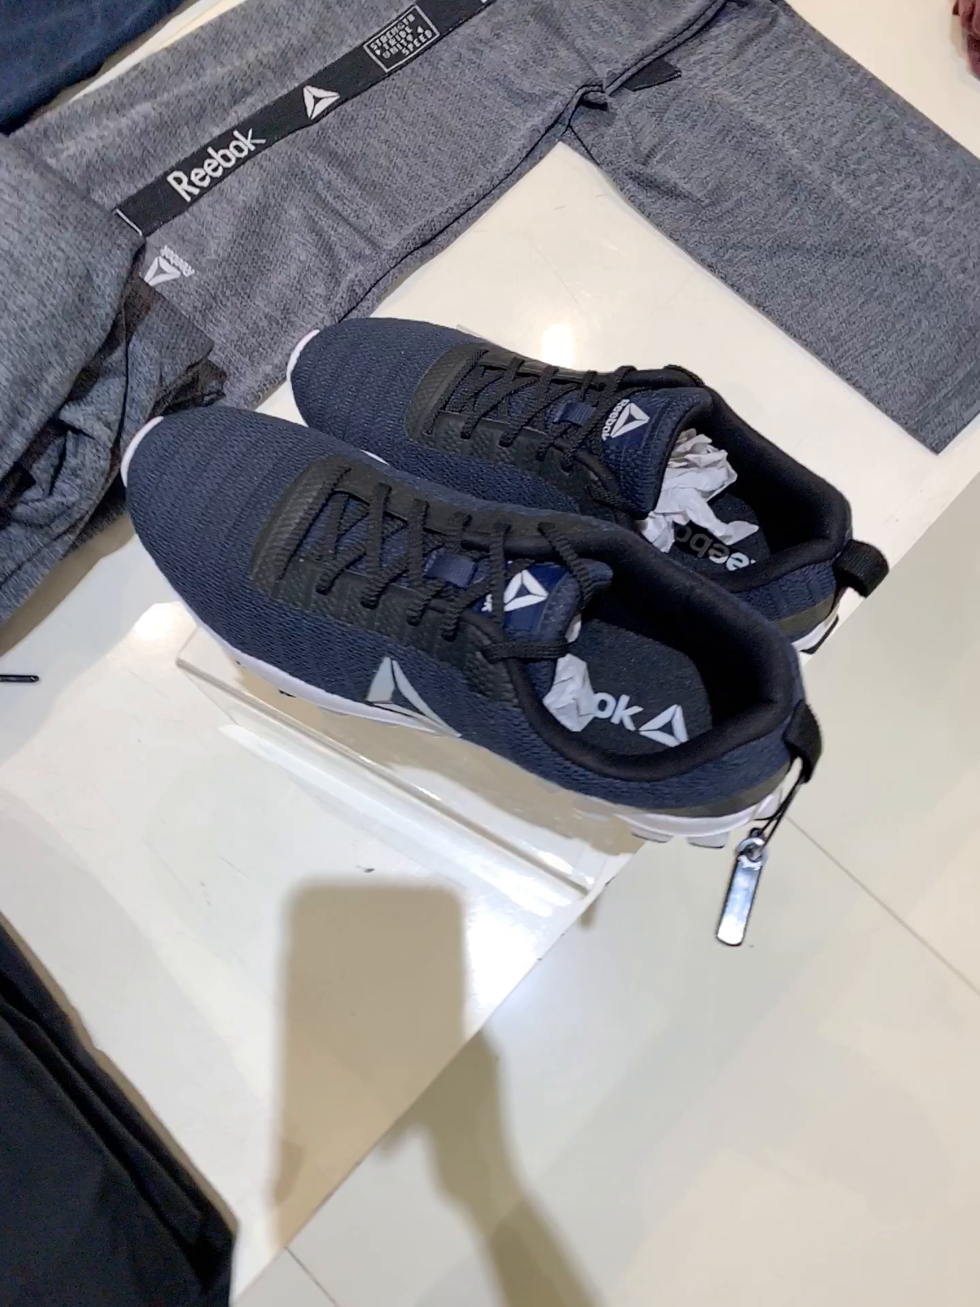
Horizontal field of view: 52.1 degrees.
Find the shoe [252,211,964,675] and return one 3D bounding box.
[{"bbox_3d":[0.044,-0.105,0.464,0.290,0.080,0.100,25,74,22],"label":"shoe"}]

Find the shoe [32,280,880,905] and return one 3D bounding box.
[{"bbox_3d":[-0.013,-0.022,0.398,0.280,0.080,0.120,26,75,6],"label":"shoe"}]
